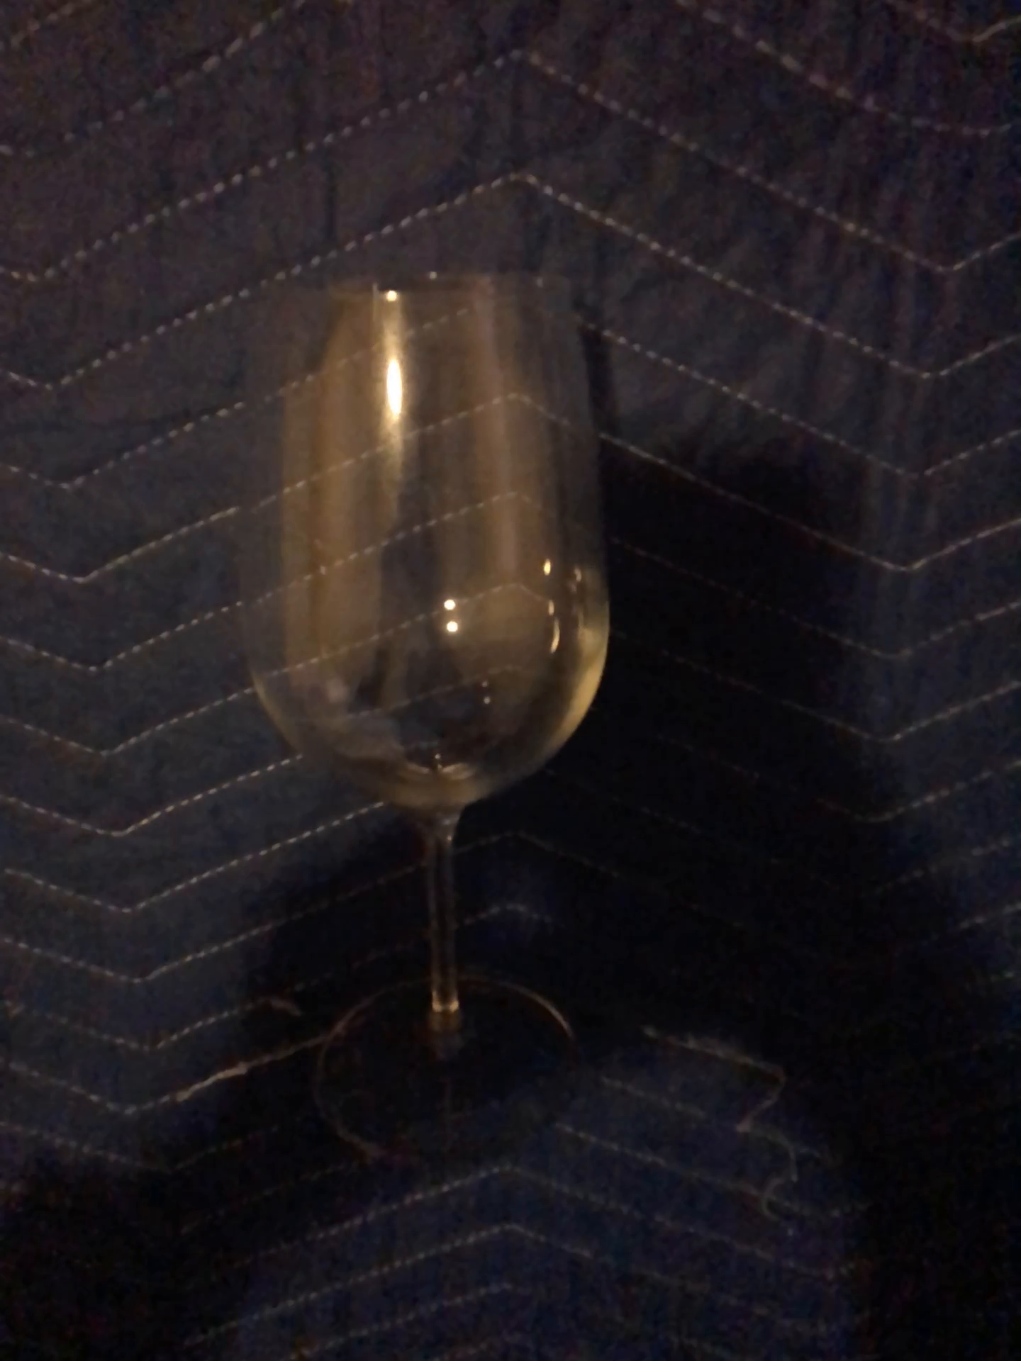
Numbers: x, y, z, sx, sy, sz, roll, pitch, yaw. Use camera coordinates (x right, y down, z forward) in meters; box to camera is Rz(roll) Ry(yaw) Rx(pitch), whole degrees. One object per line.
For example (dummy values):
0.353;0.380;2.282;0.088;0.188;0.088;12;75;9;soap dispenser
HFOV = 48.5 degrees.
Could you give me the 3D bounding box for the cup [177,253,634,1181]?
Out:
-0.019;0.008;0.280;0.080;0.090;0.211;-1;112;-1;cup
